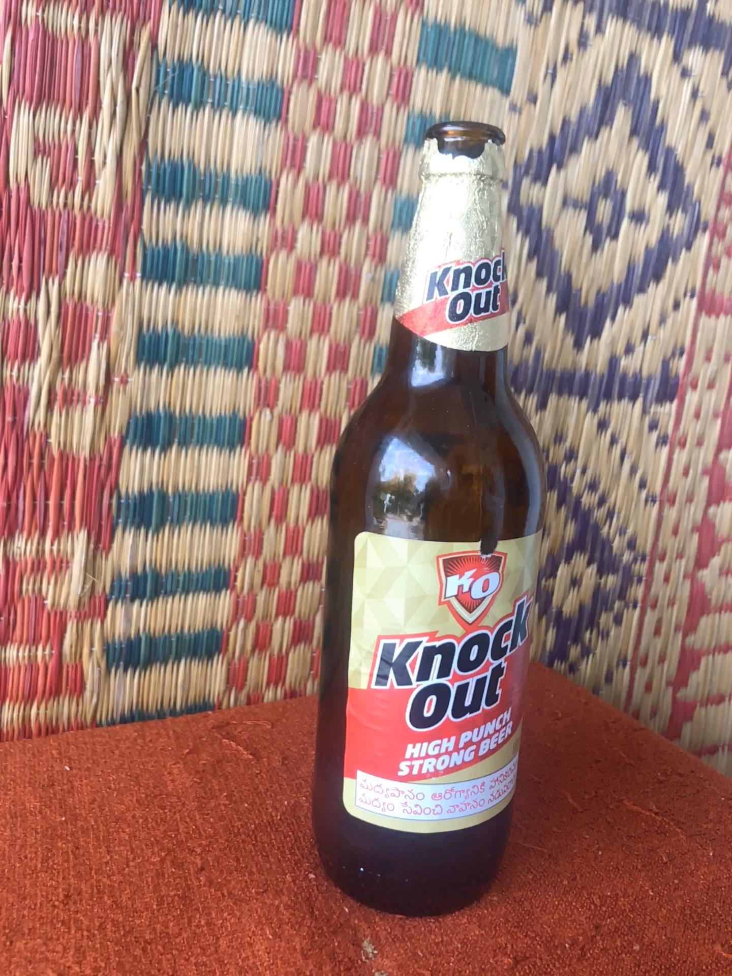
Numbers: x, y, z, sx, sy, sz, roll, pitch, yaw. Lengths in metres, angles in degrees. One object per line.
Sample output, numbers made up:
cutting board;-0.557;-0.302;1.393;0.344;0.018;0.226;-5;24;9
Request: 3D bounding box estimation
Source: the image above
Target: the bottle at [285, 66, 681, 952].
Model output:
bottle;0.028;0.011;0.267;0.070;0.249;0.070;6;12;-1
